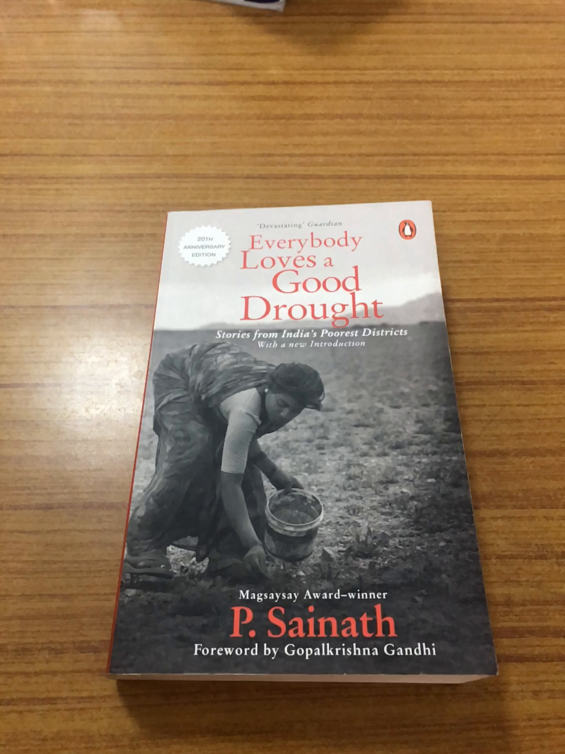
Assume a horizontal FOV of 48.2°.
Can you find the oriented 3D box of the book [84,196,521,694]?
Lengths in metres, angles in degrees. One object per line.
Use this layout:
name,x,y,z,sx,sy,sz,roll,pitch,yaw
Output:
book,0.007,0.016,0.270,0.140,0.040,0.210,1,62,0
